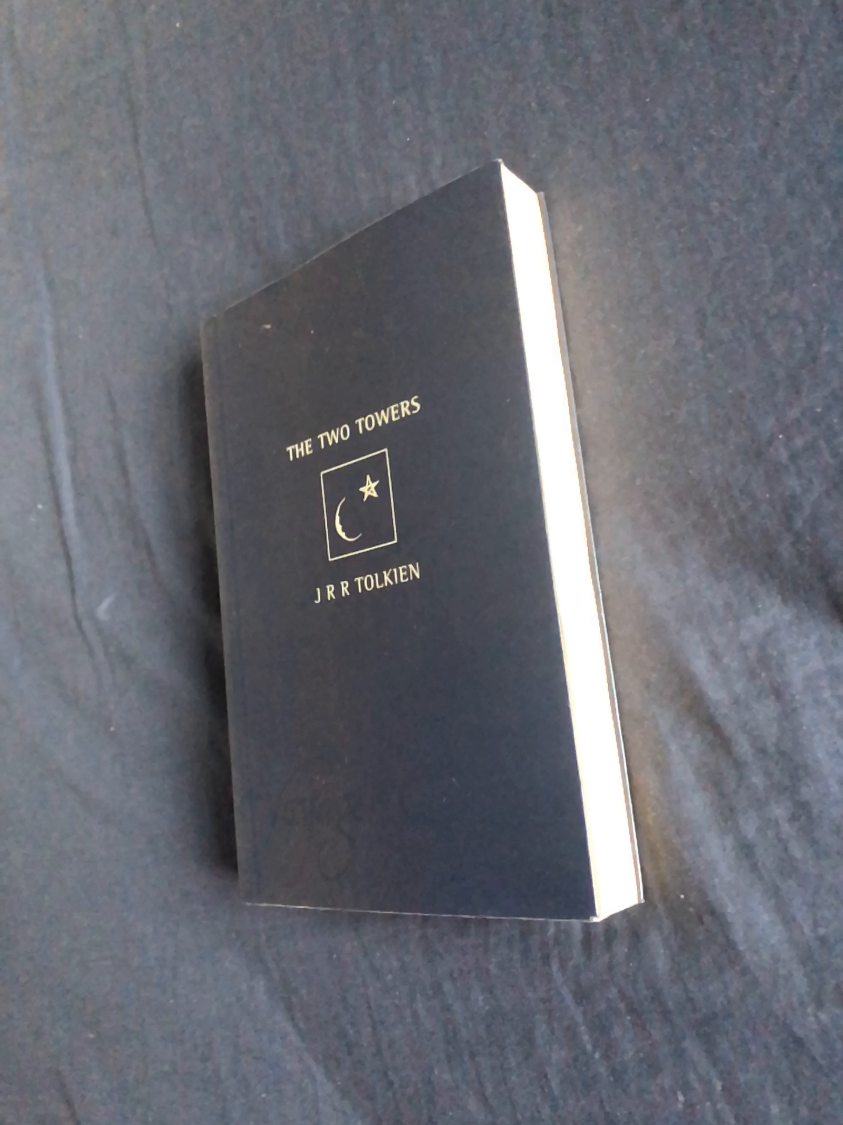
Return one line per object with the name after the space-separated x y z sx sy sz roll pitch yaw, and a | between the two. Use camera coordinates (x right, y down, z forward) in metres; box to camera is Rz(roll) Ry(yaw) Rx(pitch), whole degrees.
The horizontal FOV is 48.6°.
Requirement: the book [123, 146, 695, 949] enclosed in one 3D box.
-0.014 0.006 0.279 0.141 0.060 0.190 -15 77 35 | book
